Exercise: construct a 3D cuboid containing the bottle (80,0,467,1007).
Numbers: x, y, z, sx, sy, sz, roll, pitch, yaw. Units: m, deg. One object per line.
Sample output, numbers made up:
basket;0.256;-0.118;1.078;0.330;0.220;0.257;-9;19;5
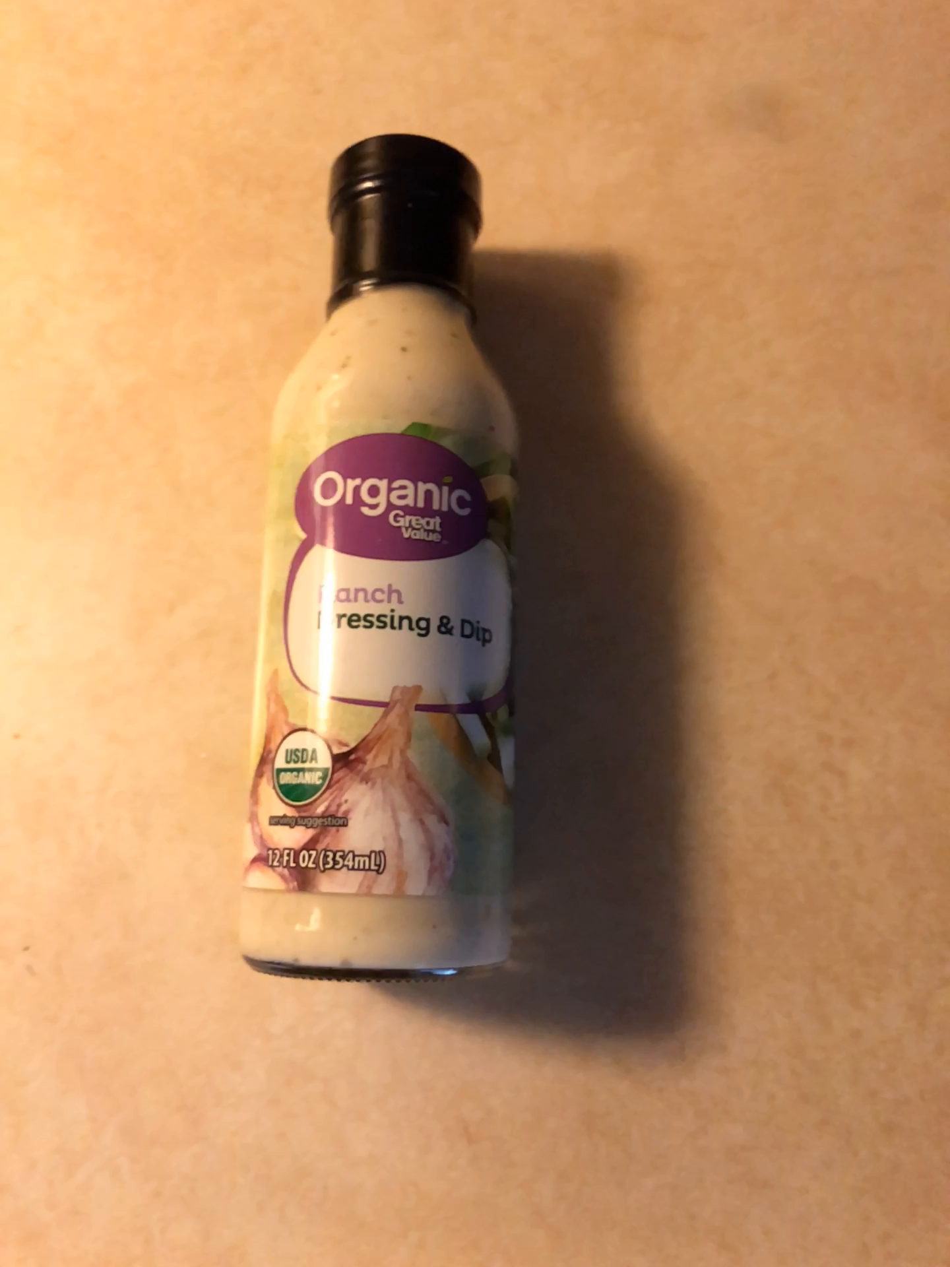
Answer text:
bottle;-0.041;-0.033;0.259;0.070;0.060;0.230;2;74;-6
